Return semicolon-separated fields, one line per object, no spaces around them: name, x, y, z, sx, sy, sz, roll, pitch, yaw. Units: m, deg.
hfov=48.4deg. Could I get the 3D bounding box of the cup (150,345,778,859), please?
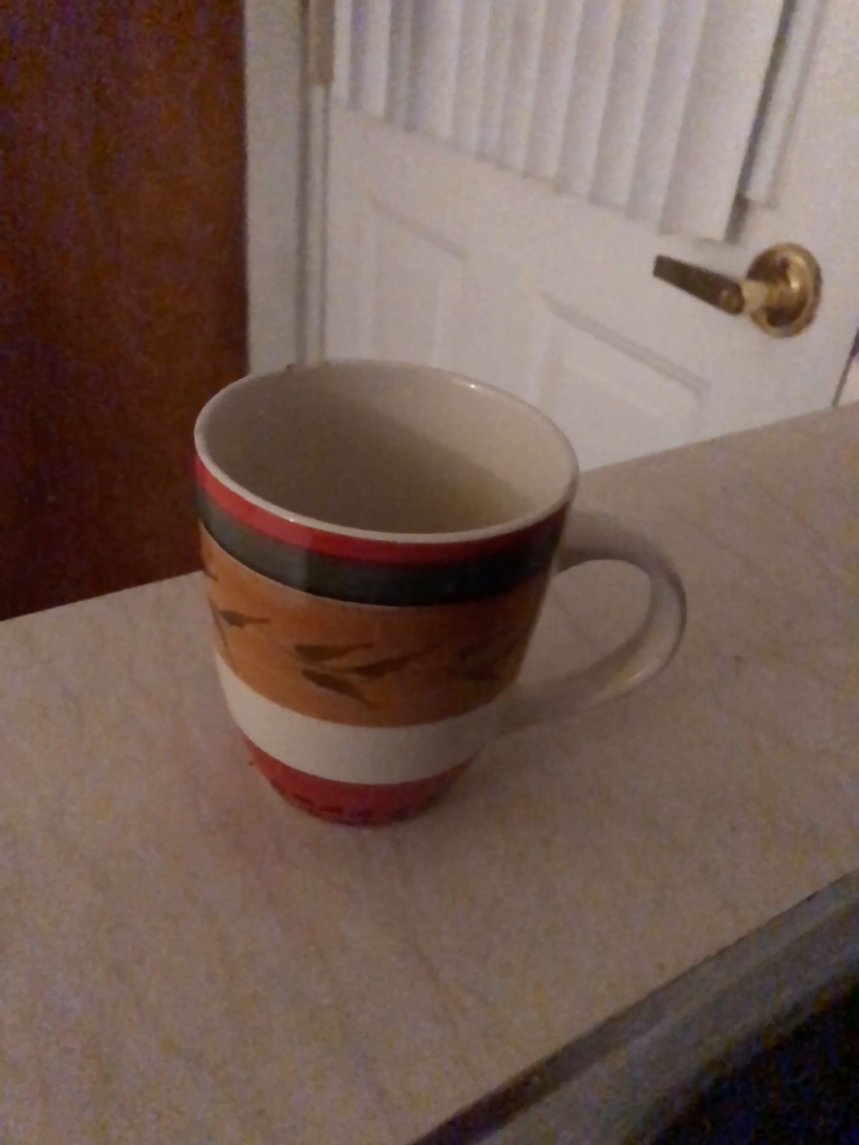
cup;0.001;0.007;0.286;0.143;0.109;0.101;1;34;-8
